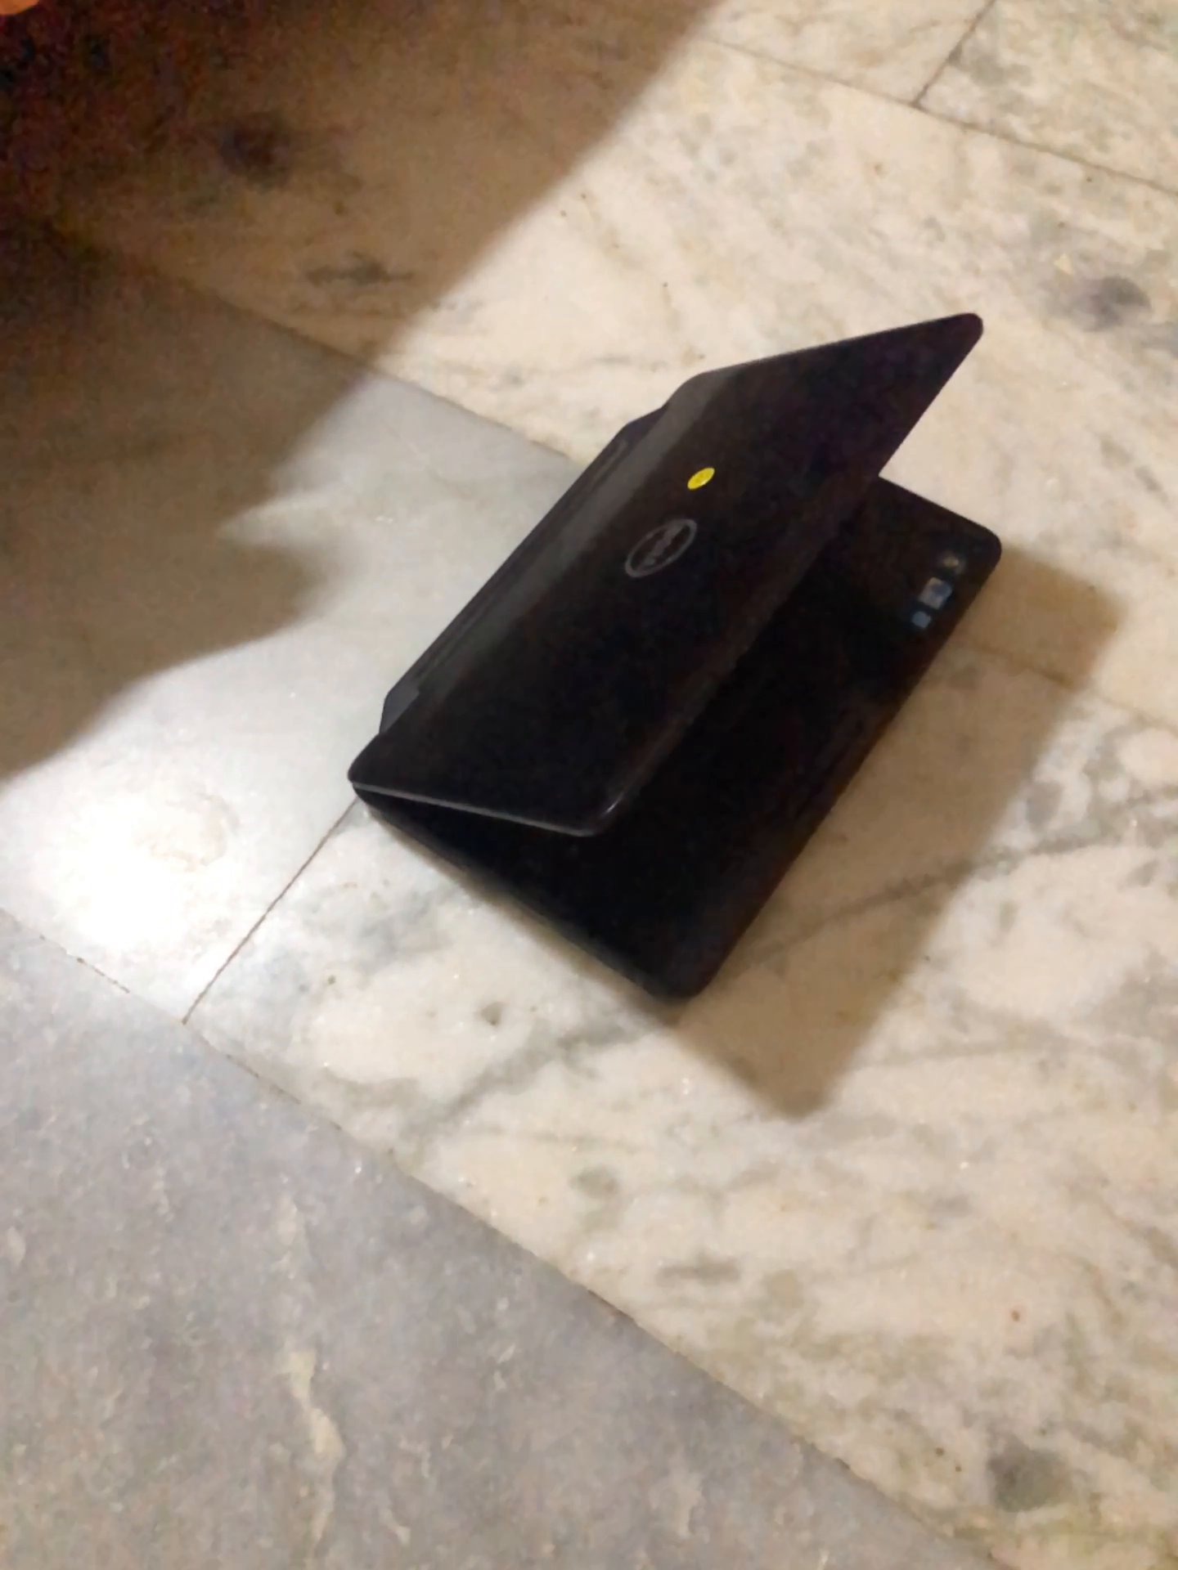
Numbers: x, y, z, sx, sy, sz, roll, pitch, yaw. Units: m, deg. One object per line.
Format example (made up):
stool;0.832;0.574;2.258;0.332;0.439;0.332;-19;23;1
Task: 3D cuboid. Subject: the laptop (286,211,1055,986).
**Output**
laptop;0.054;-0.114;0.717;0.234;0.161;0.352;29;66;18
